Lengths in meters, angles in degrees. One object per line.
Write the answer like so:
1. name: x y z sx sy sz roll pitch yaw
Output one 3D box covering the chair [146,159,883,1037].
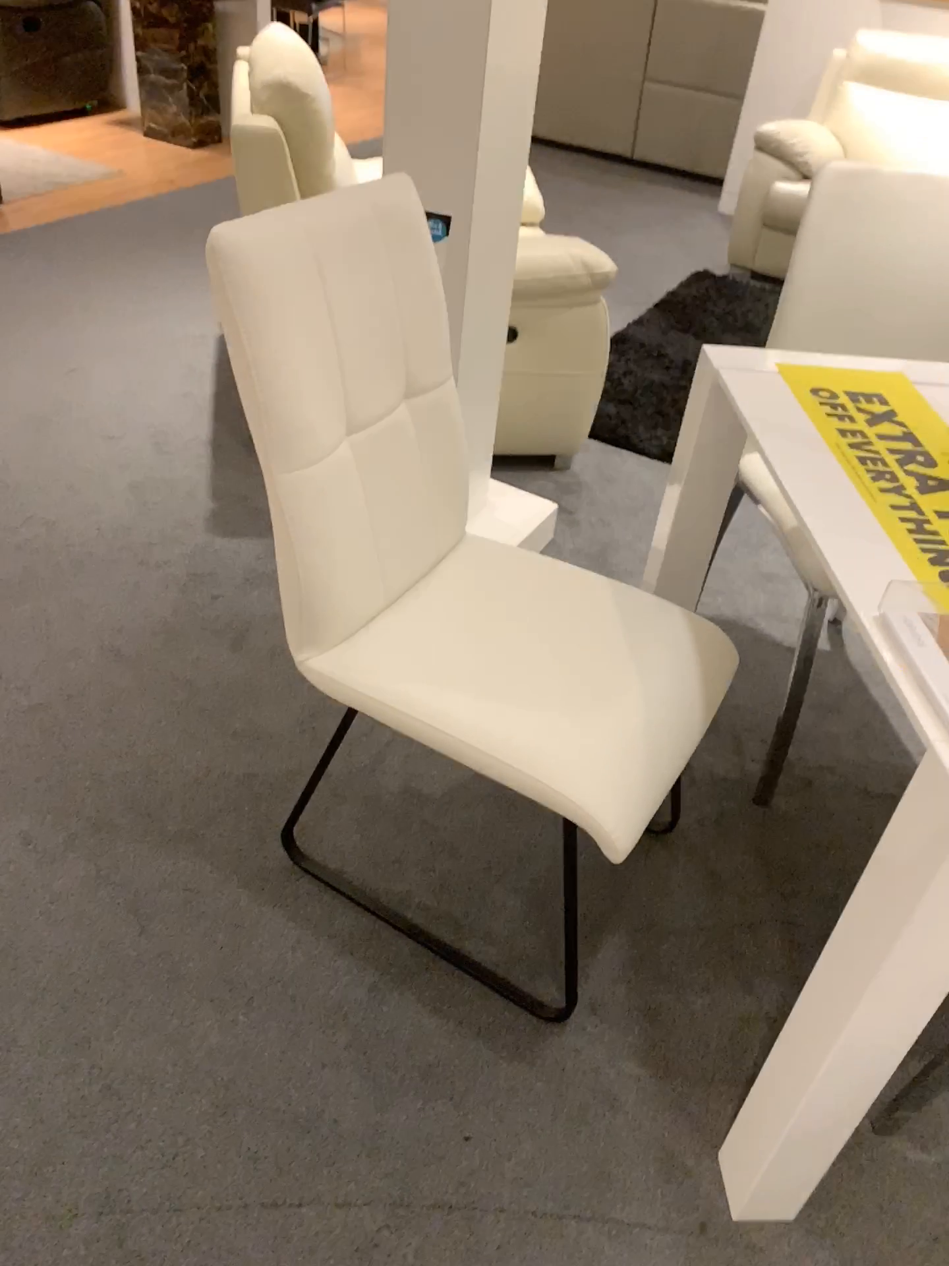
1. chair: 0.035 -0.059 1.319 0.631 0.891 0.544 23 41 19
